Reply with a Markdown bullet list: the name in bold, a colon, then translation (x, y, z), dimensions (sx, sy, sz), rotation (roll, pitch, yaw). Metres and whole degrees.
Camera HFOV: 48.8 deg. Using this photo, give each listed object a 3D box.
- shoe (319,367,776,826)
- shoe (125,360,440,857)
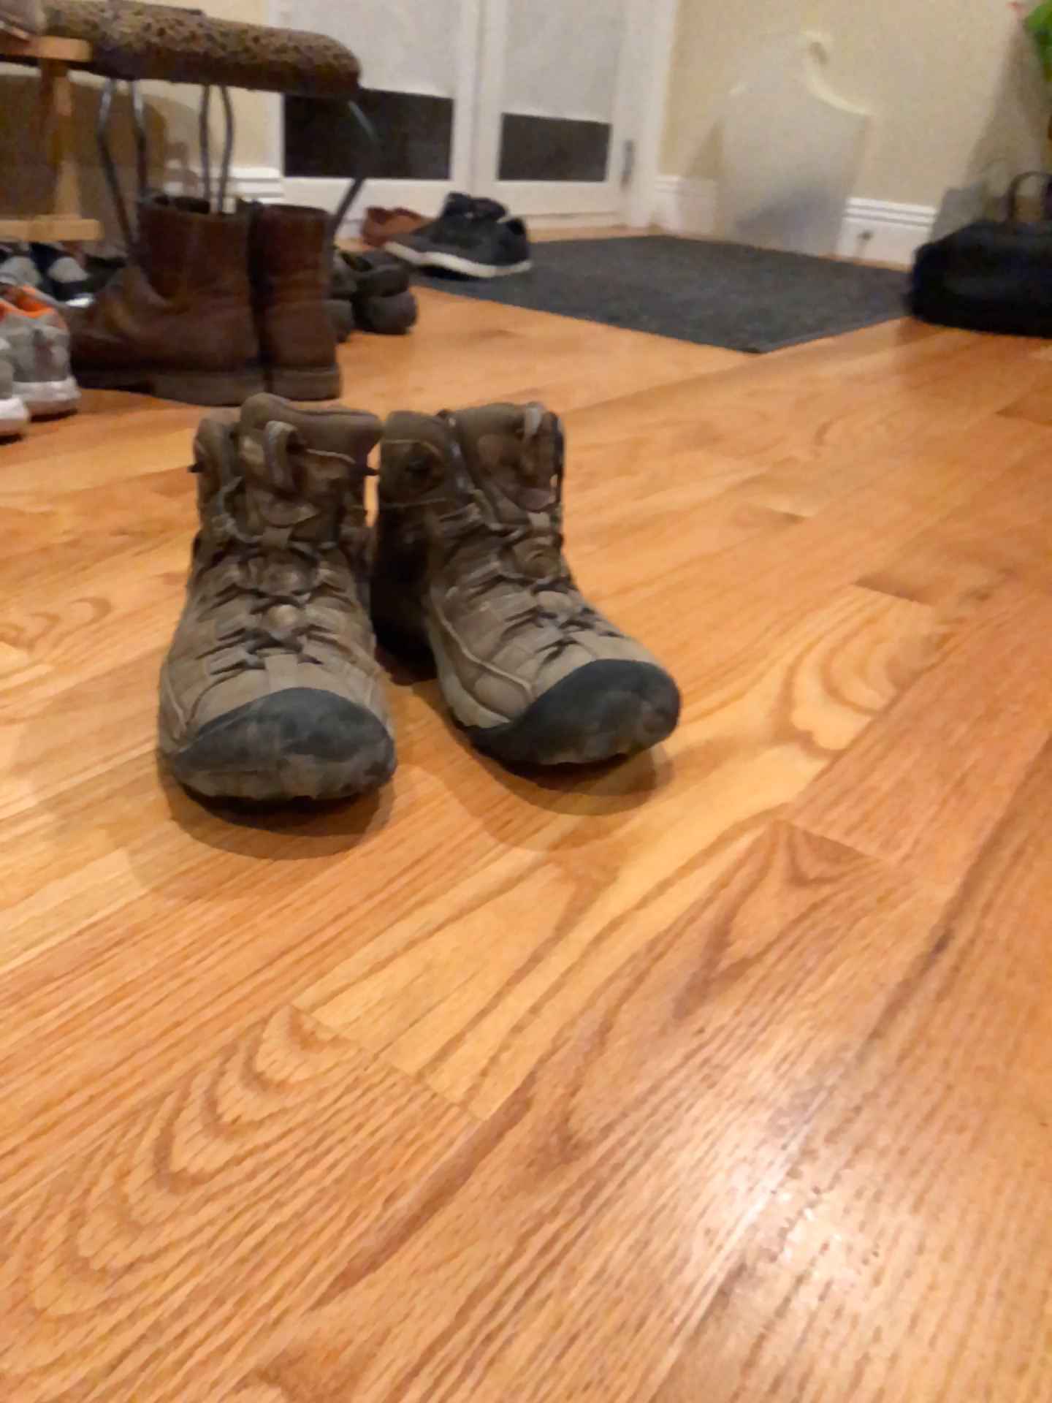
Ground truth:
- **shoe**: translation (-0.010, -0.072, 0.591), dimensions (0.108, 0.139, 0.260), rotation (-9, 30, -28)
- **shoe**: translation (-0.120, -0.062, 0.547), dimensions (0.107, 0.139, 0.261), rotation (-1, 27, -14)
